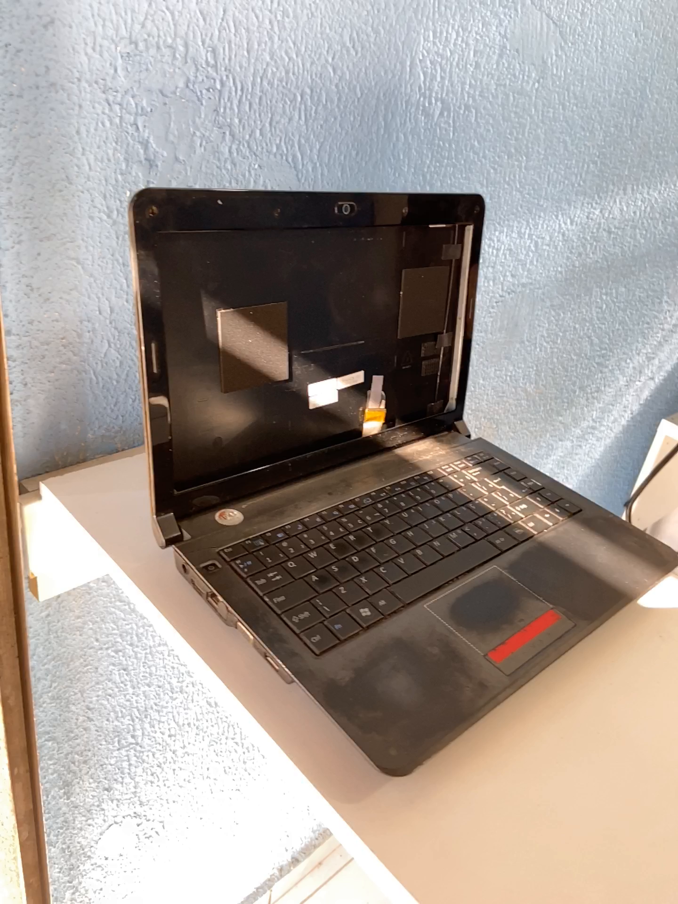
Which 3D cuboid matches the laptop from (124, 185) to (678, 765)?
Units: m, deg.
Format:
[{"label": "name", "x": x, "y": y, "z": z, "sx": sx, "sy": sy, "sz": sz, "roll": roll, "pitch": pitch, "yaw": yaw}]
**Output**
[{"label": "laptop", "x": 0.073, "y": -0.035, "z": 0.491, "sx": 0.335, "sy": 0.216, "sz": 0.276, "roll": -17, "pitch": 39, "yaw": -40}]
